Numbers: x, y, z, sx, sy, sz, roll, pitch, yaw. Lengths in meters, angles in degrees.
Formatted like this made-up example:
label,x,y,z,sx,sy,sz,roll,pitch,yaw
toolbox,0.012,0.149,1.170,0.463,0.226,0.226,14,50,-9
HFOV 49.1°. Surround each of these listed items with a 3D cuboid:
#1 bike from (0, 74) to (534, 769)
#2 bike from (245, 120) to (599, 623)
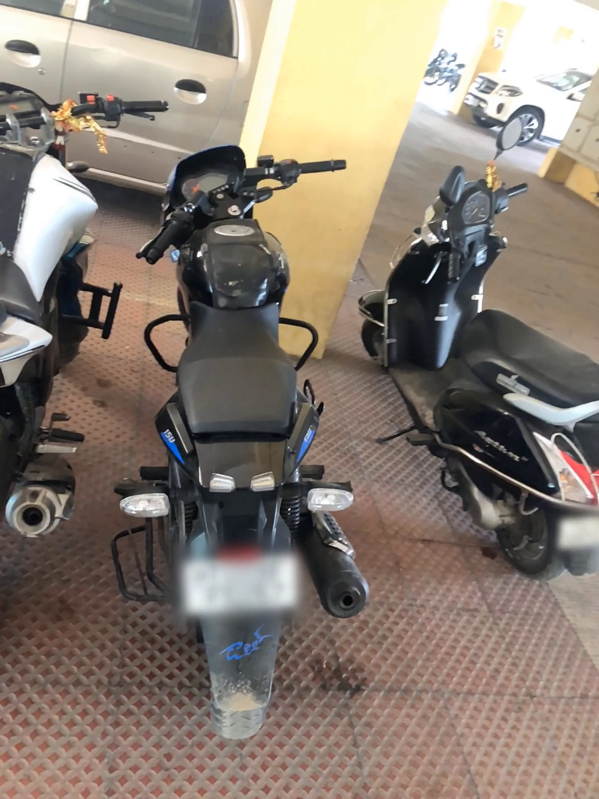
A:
label,x,y,z,sx,sy,sz,roll,pitch,yaw
bike,-0.361,-0.152,1.867,0.745,0.989,1.853,8,31,-19
bike,0.503,-0.219,2.675,0.713,1.222,1.721,3,33,-26
